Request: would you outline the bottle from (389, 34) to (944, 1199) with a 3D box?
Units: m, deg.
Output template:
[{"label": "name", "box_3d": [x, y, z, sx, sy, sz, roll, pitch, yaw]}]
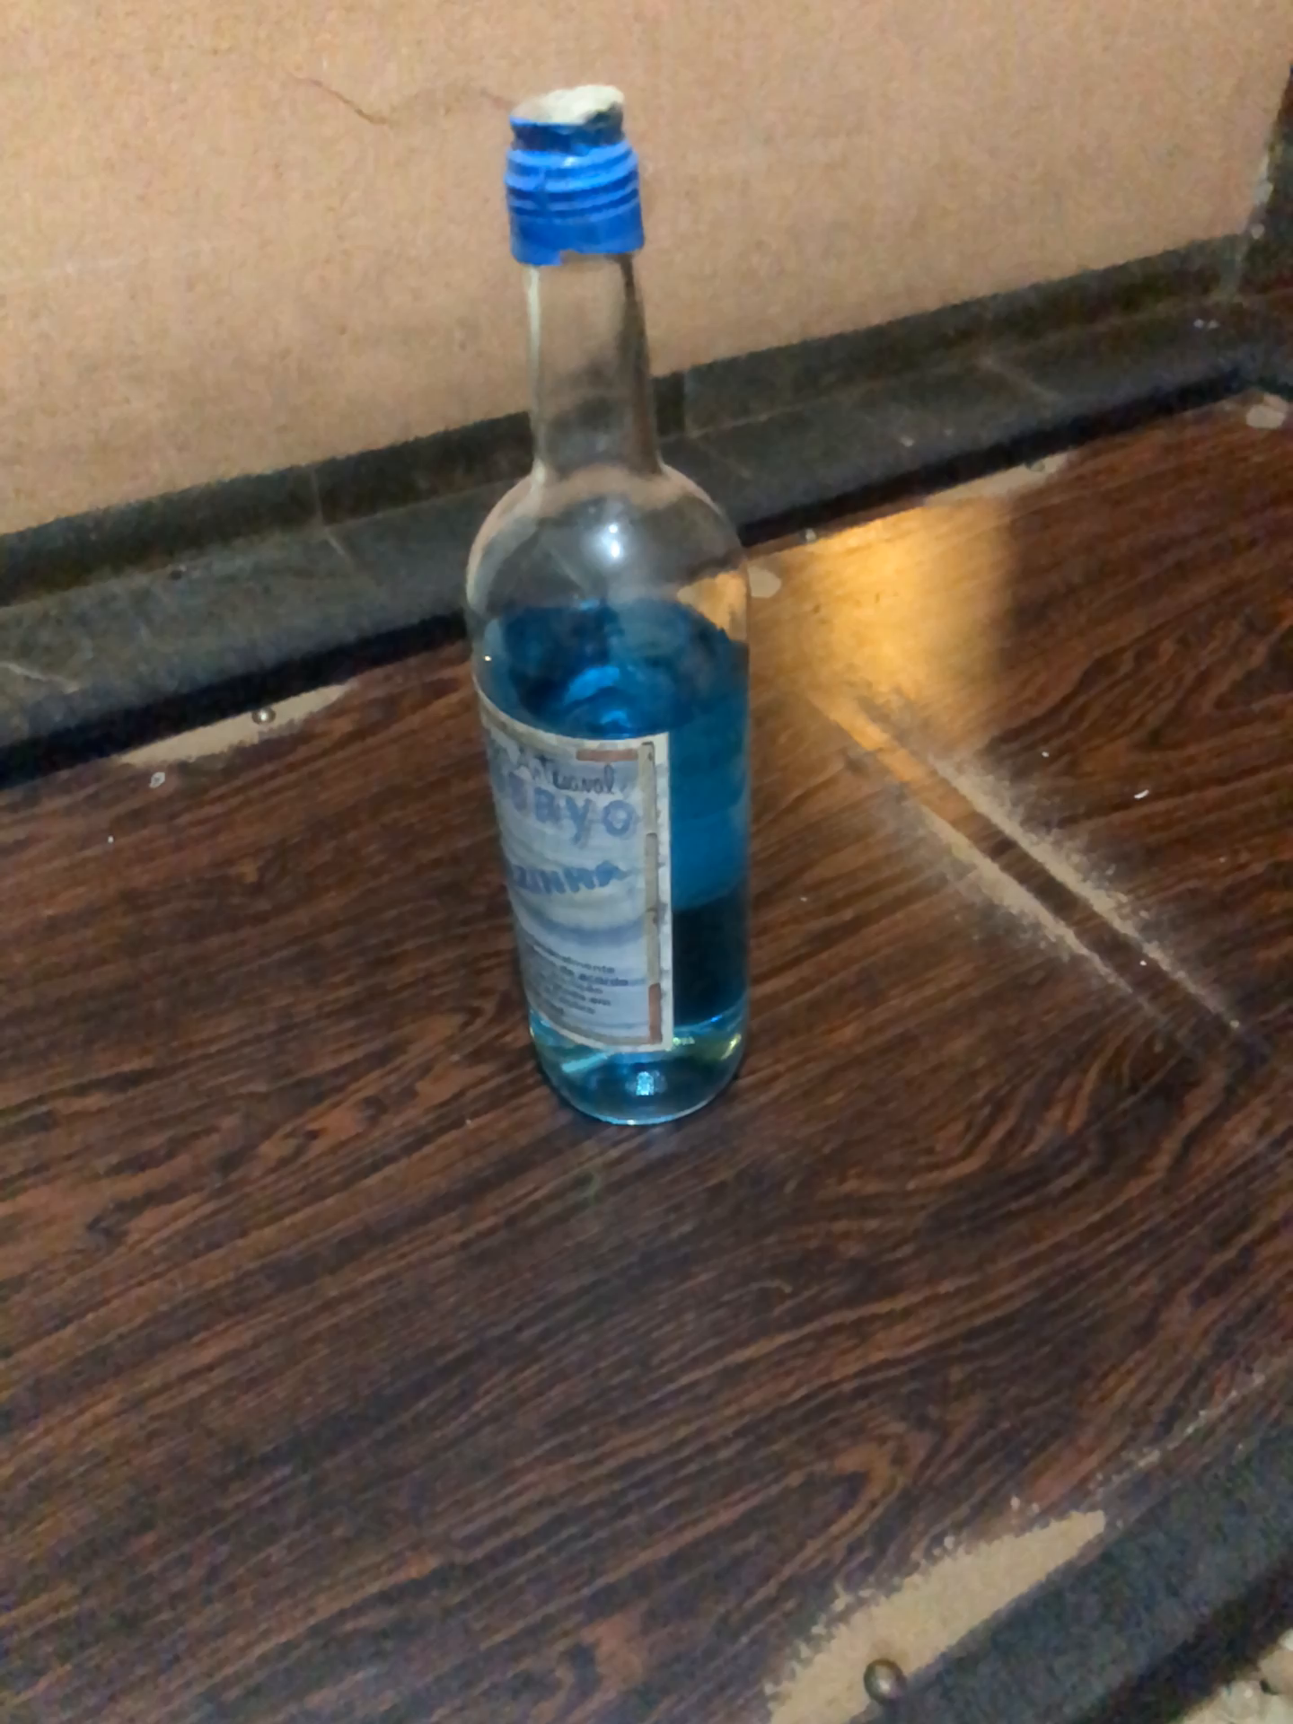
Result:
[{"label": "bottle", "box_3d": [0.002, -0.044, 0.389, 0.080, 0.298, 0.080, 0, 42, 0]}]
